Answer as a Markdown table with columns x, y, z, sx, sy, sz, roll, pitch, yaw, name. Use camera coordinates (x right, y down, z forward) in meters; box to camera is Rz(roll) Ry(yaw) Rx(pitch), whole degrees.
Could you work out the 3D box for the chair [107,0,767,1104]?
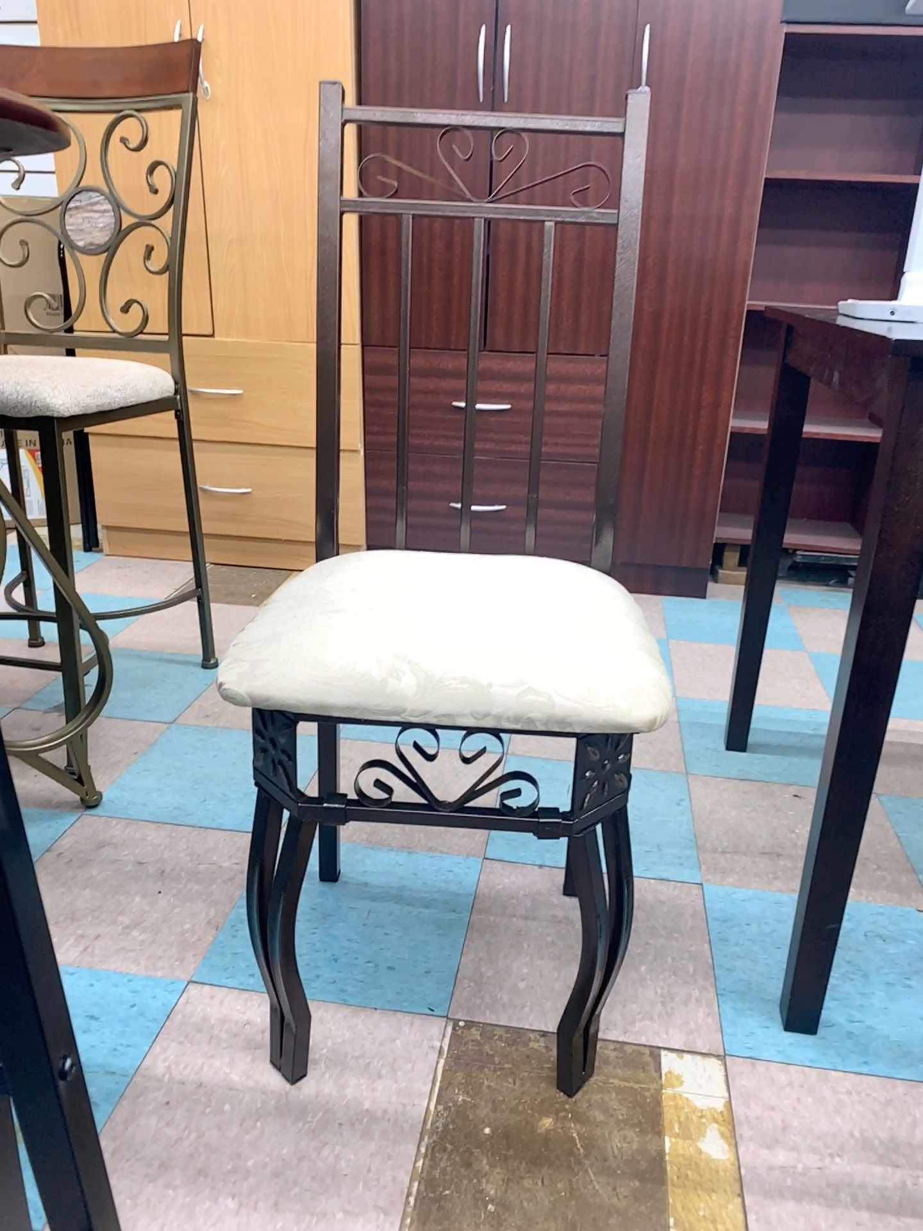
| x | y | z | sx | sy | sz | roll | pitch | yaw | name |
| --- | --- | --- | --- | --- | --- | --- | --- | --- | --- |
| -0.018 | -0.063 | 0.979 | 0.415 | 0.951 | 0.478 | 3 | 21 | 2 | chair |
